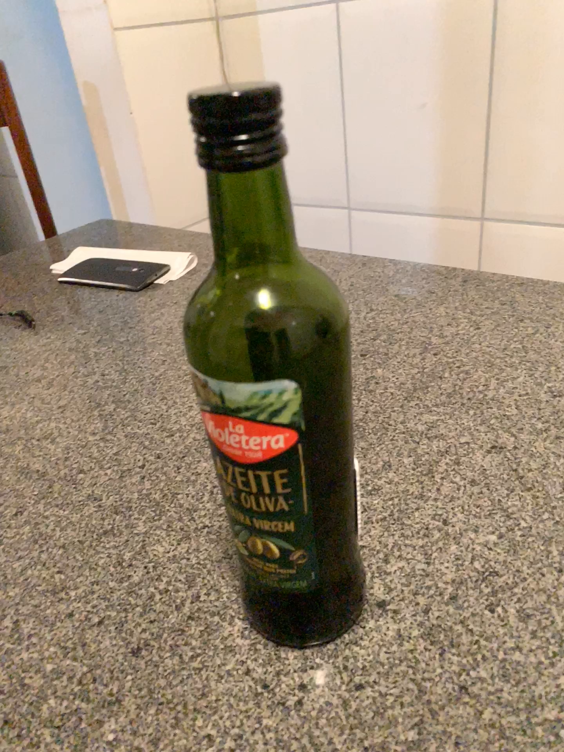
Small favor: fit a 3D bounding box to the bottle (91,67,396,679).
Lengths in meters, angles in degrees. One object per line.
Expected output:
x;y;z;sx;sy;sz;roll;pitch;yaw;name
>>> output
0.002;0.014;0.238;0.070;0.239;0.060;12;36;29;bottle
